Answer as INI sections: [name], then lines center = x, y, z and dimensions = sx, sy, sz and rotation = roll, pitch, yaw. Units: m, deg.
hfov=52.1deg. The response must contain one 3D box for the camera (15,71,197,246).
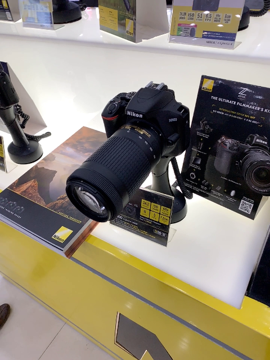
[camera]
center = -0.016, -0.041, 0.333
dimensions = 0.120, 0.100, 0.180
rotation = 16, 48, 26
